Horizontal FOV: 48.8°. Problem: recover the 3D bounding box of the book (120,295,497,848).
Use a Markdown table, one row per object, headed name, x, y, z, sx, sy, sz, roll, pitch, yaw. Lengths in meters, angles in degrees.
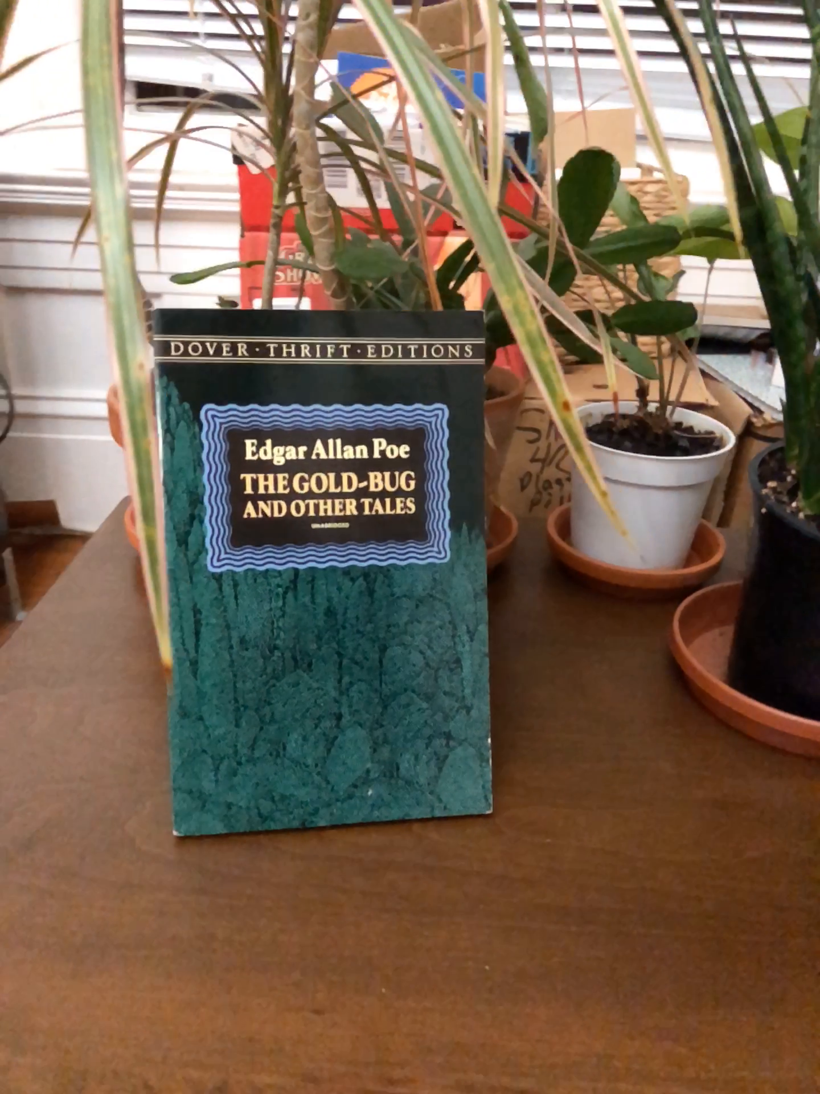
| name | x | y | z | sx | sy | sz | roll | pitch | yaw |
| --- | --- | --- | --- | --- | --- | --- | --- | --- | --- |
| book | -0.038 | 0.008 | 0.362 | 0.140 | 0.210 | 0.020 | -2 | 3 | -8 |
